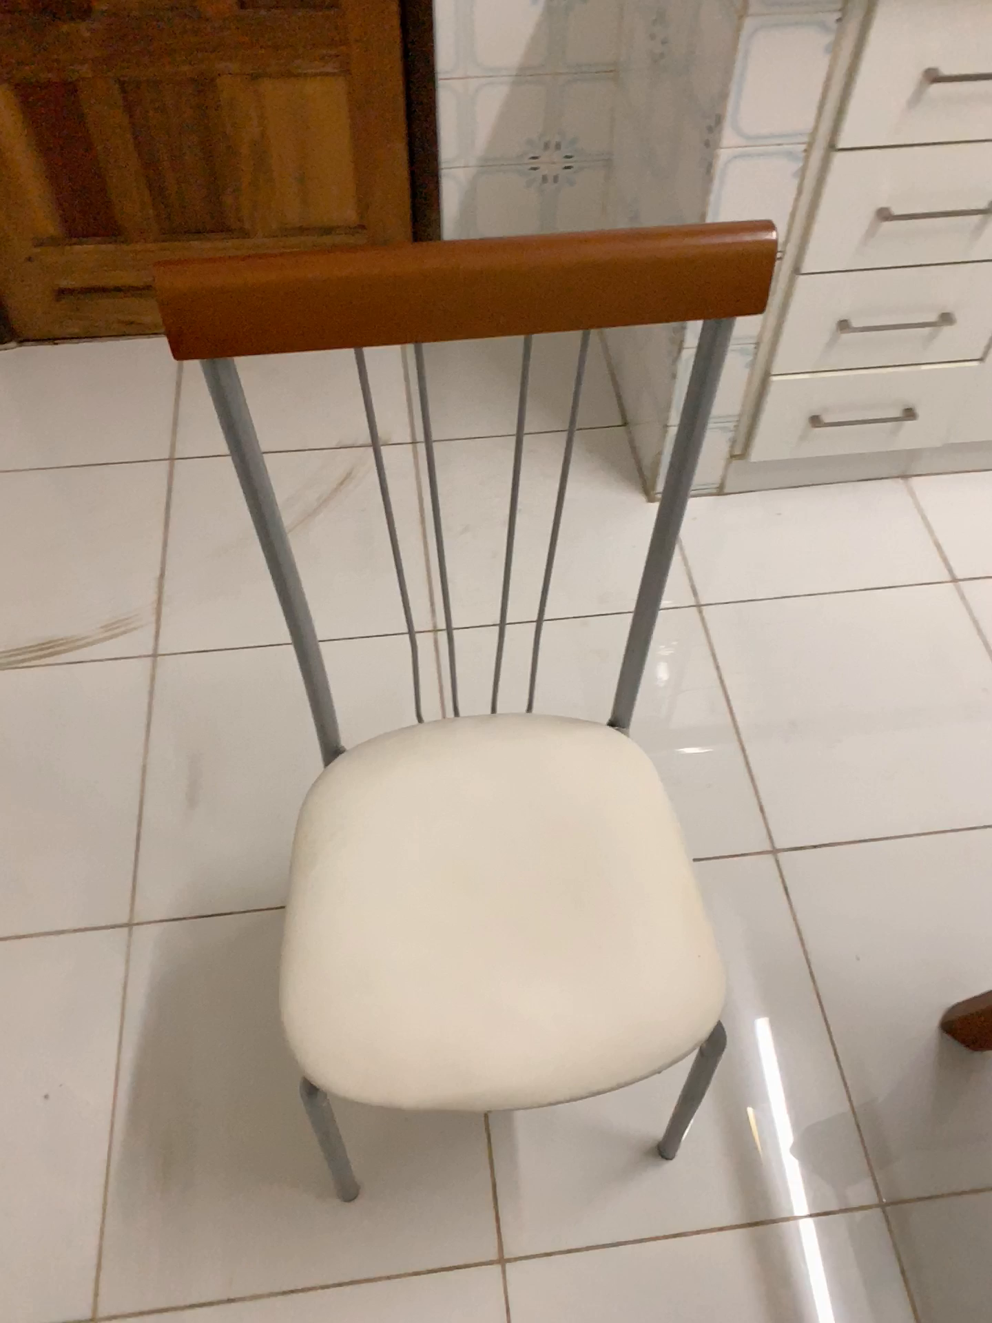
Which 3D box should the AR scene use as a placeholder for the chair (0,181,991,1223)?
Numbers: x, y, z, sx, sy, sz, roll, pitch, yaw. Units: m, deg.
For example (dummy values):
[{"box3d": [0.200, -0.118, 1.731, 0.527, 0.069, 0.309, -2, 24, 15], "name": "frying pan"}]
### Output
[{"box3d": [0.002, 0.139, 0.922, 0.480, 0.886, 0.512, -5, 55, -4], "name": "chair"}]
